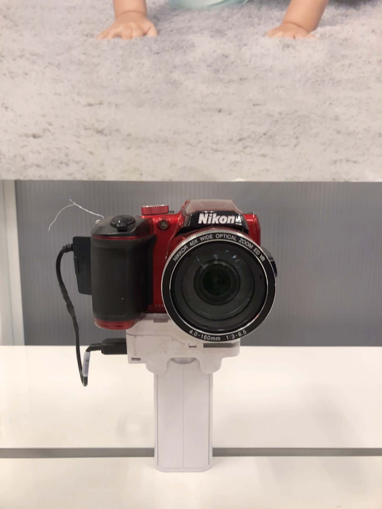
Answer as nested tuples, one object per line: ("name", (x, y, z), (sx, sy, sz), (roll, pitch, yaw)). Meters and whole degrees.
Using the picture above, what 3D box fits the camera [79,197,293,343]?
("camera", (-0.003, 0.004, 0.265), (0.110, 0.074, 0.084), (1, 10, -1))
